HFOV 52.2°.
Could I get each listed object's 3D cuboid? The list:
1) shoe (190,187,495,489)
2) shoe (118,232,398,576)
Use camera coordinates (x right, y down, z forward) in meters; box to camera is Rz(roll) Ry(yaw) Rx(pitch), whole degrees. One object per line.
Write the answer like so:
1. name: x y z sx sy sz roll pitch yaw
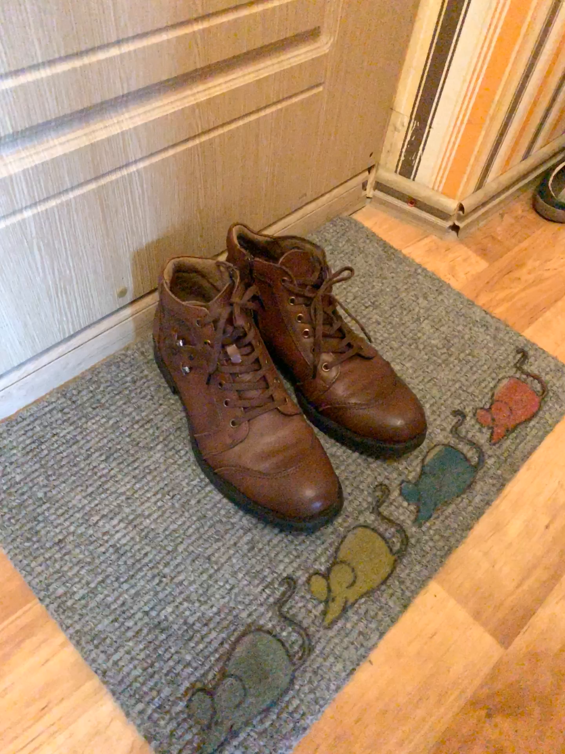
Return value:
1. shoe: 0.041 -0.044 0.574 0.270 0.140 0.110 39 58 21
2. shoe: -0.037 0.016 0.521 0.110 0.140 0.261 -24 59 -23
